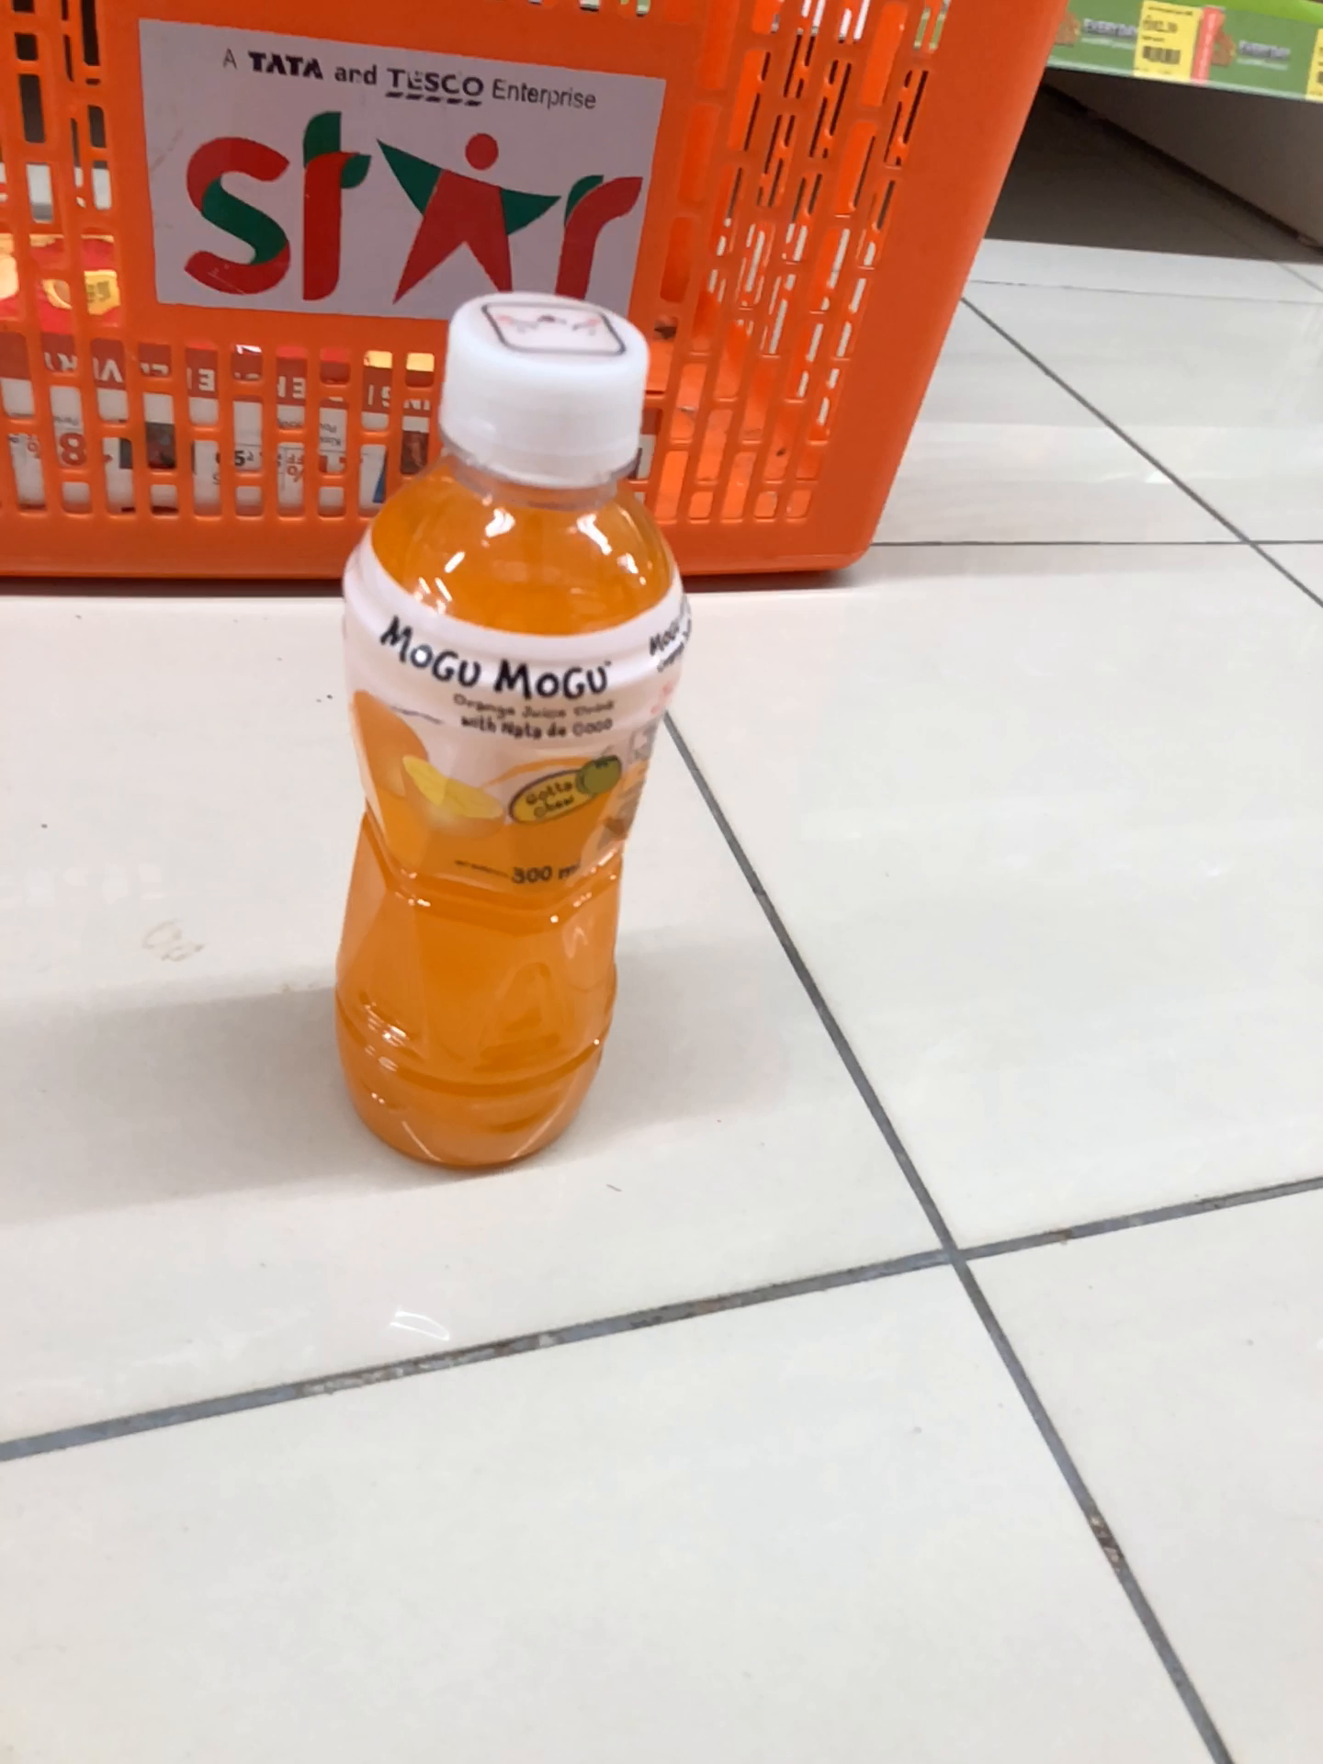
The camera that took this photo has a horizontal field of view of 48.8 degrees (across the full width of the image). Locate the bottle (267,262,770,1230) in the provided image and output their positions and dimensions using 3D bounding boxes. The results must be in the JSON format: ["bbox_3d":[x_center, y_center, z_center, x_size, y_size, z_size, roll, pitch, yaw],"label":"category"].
[{"bbox_3d":[-0.030,-0.014,0.257,0.060,0.159,0.050,14,40,2],"label":"bottle"}]
